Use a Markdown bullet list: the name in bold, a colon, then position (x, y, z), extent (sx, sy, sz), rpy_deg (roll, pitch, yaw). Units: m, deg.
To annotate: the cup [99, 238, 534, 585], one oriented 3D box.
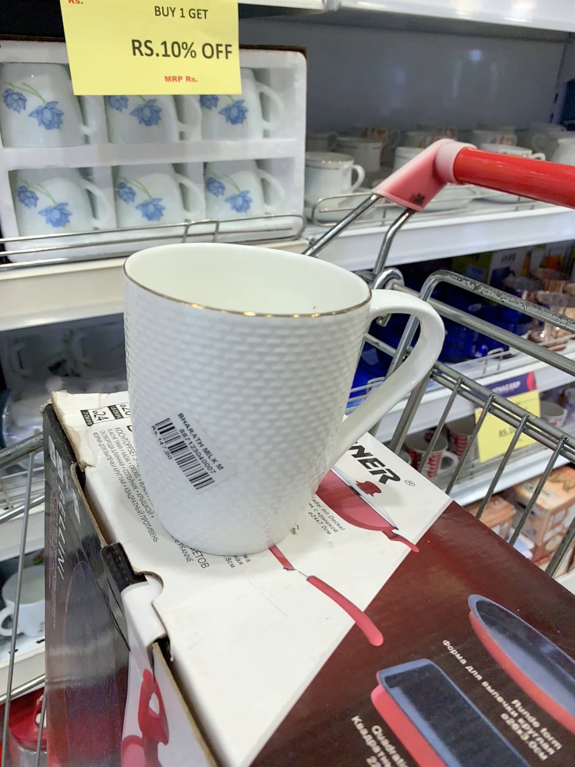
- **cup**: position (-0.001, -0.001, 0.215), extent (0.120, 0.080, 0.090), rpy_deg (-4, 29, -19)
